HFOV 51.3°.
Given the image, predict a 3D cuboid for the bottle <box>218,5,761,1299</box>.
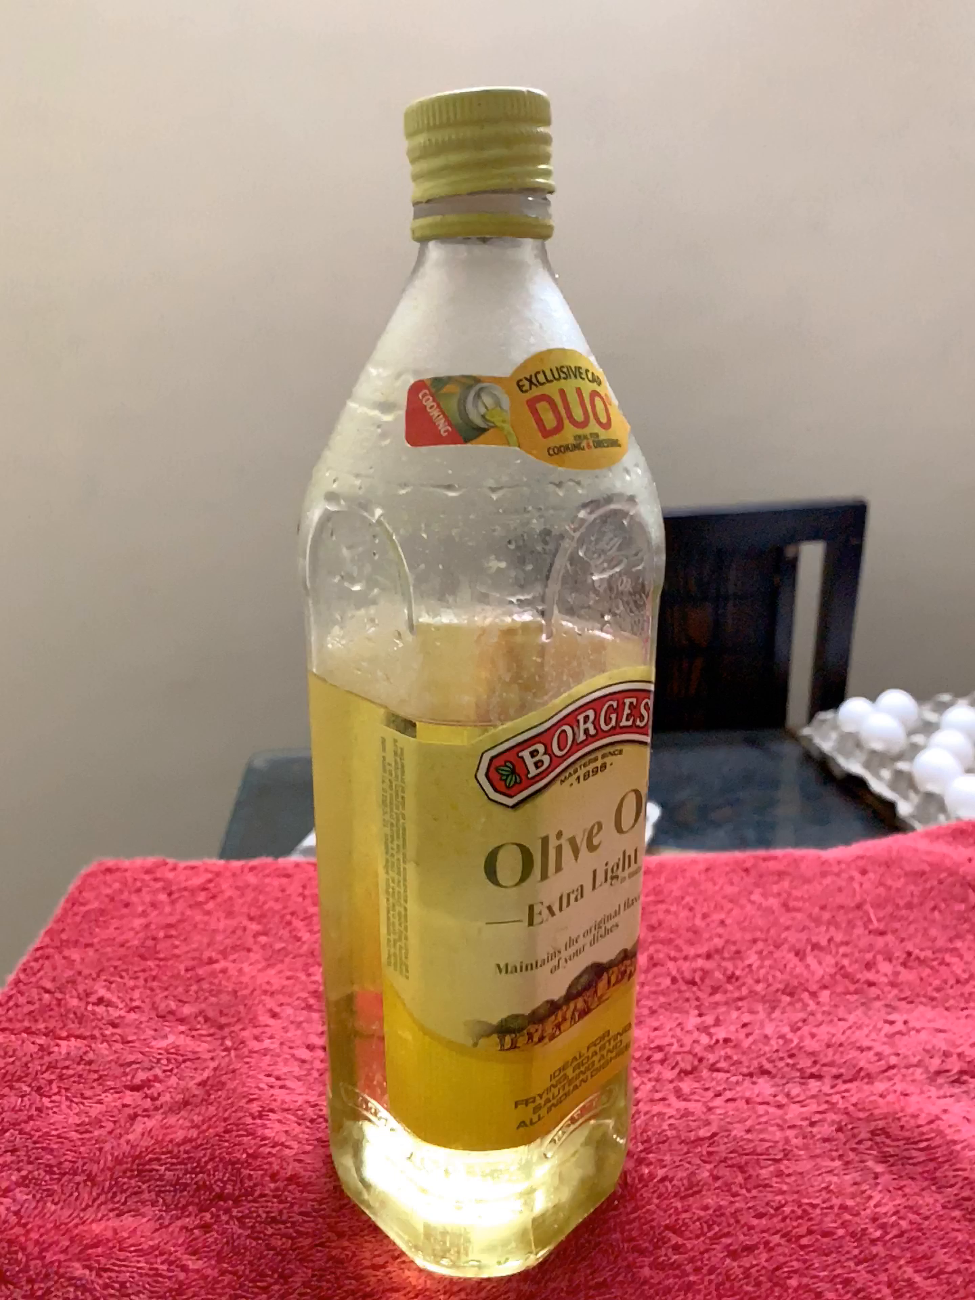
[{"bbox_3d":[0.002,0.014,0.243,0.080,0.268,0.070,-17,25,-39],"label":"bottle"}]
